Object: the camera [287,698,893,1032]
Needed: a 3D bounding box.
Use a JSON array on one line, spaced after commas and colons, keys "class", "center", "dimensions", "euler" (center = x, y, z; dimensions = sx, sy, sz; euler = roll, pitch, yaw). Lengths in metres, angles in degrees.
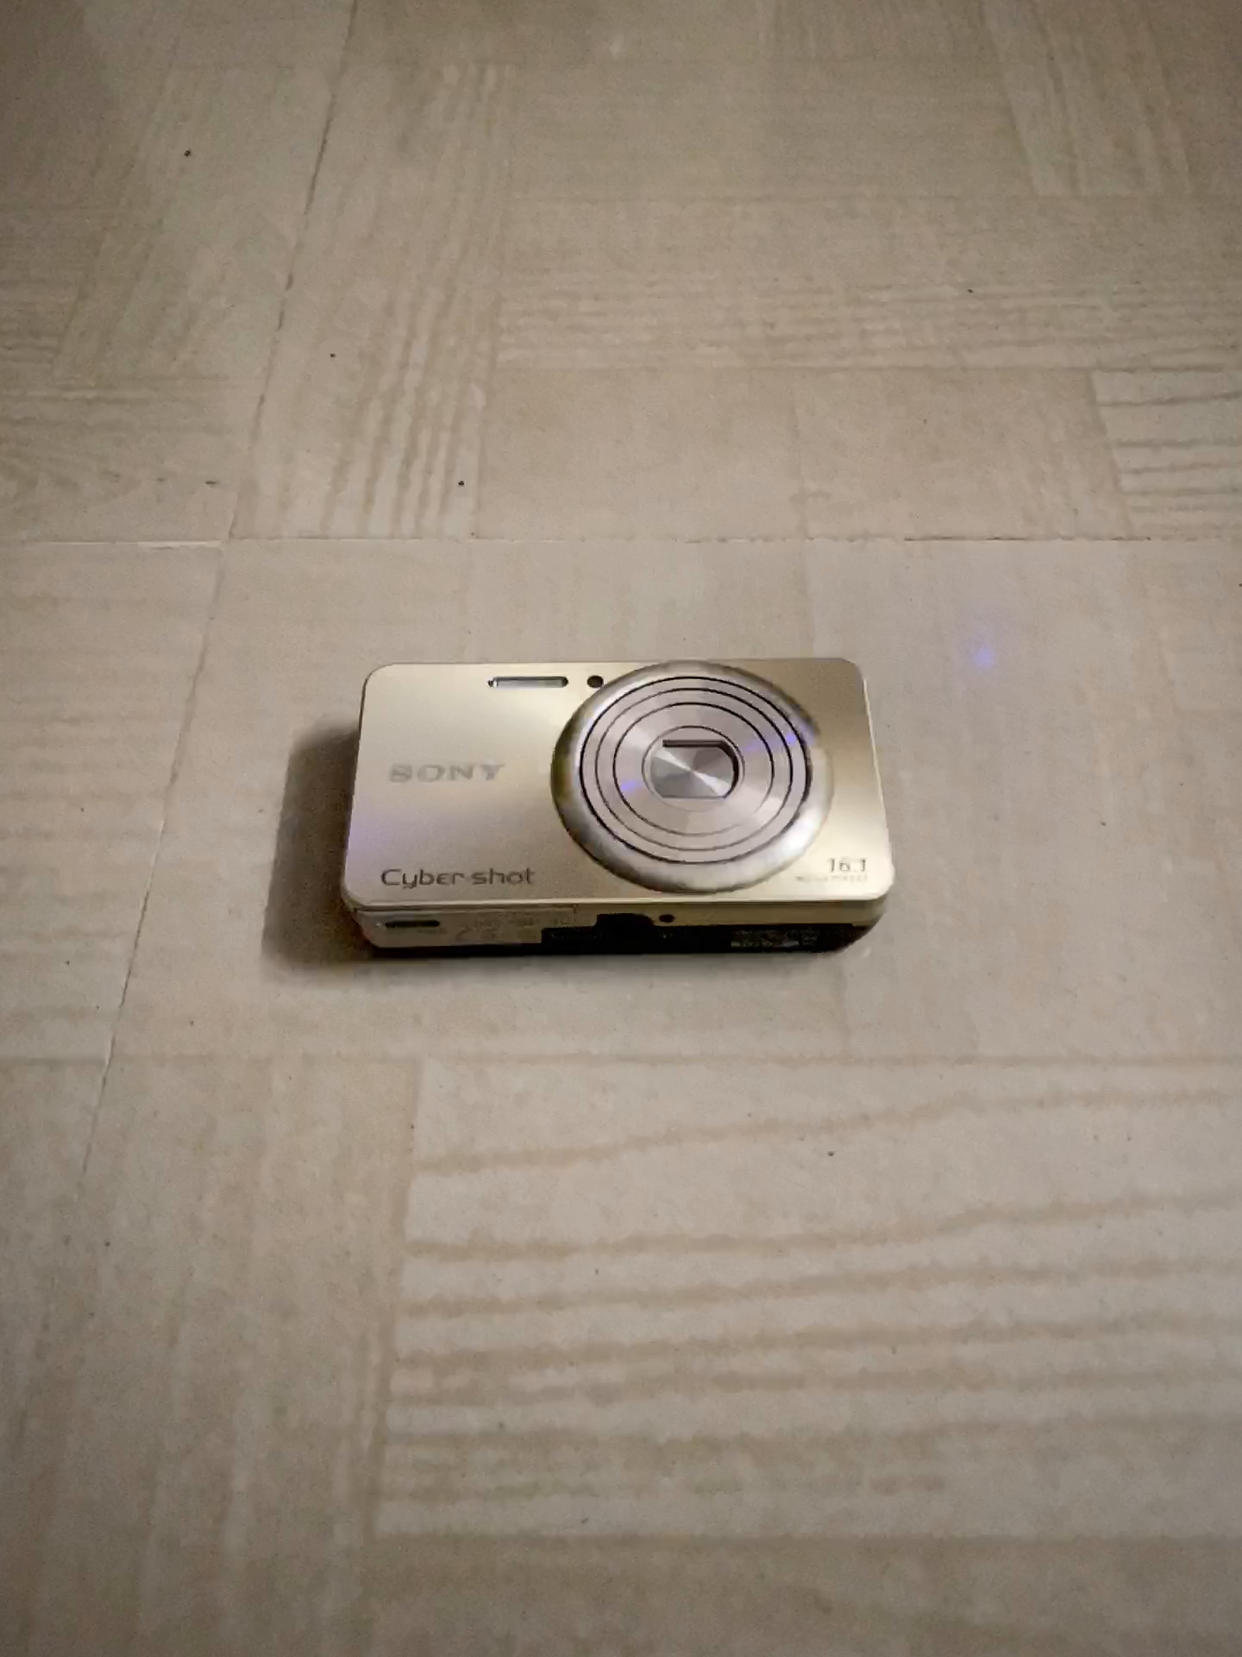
[{"class": "camera", "center": [-0.005, 0.006, 0.229], "dimensions": [0.097, 0.019, 0.057], "euler": [0, 57, -1]}]
